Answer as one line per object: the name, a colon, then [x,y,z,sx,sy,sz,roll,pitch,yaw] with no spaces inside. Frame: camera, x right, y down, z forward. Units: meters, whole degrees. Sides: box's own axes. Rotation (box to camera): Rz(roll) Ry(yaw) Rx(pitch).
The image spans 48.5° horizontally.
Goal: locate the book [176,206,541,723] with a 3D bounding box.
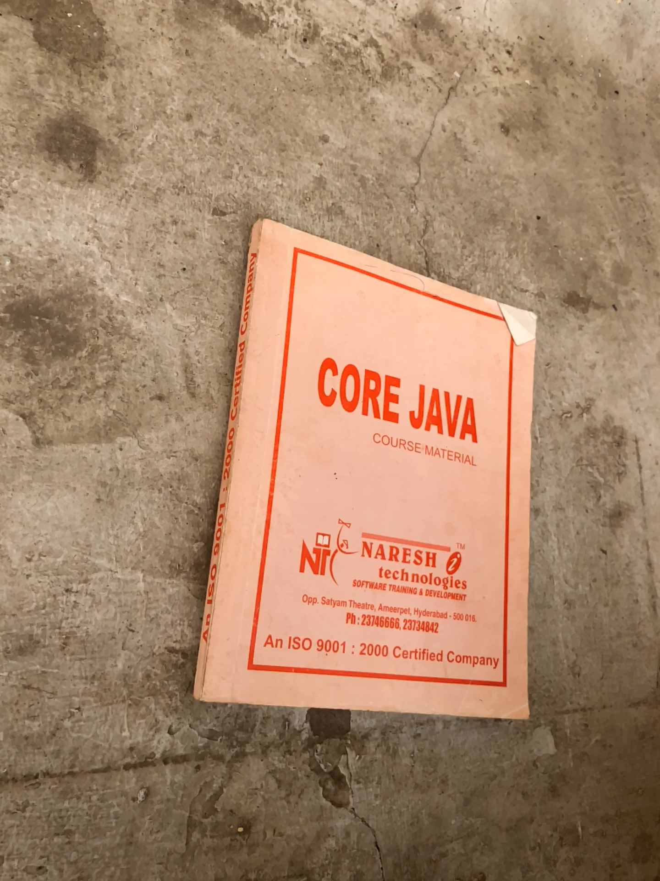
book: [0.031,0.019,0.418,0.201,0.030,0.260,11,72,-24]
